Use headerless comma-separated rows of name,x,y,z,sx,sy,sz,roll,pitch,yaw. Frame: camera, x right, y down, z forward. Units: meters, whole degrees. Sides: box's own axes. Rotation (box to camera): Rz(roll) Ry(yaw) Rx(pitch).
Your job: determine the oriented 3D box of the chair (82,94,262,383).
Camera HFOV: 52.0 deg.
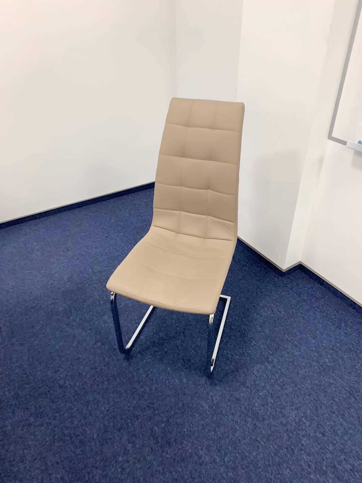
chair,0.011,-0.005,1.513,0.440,0.984,0.533,11,36,16
